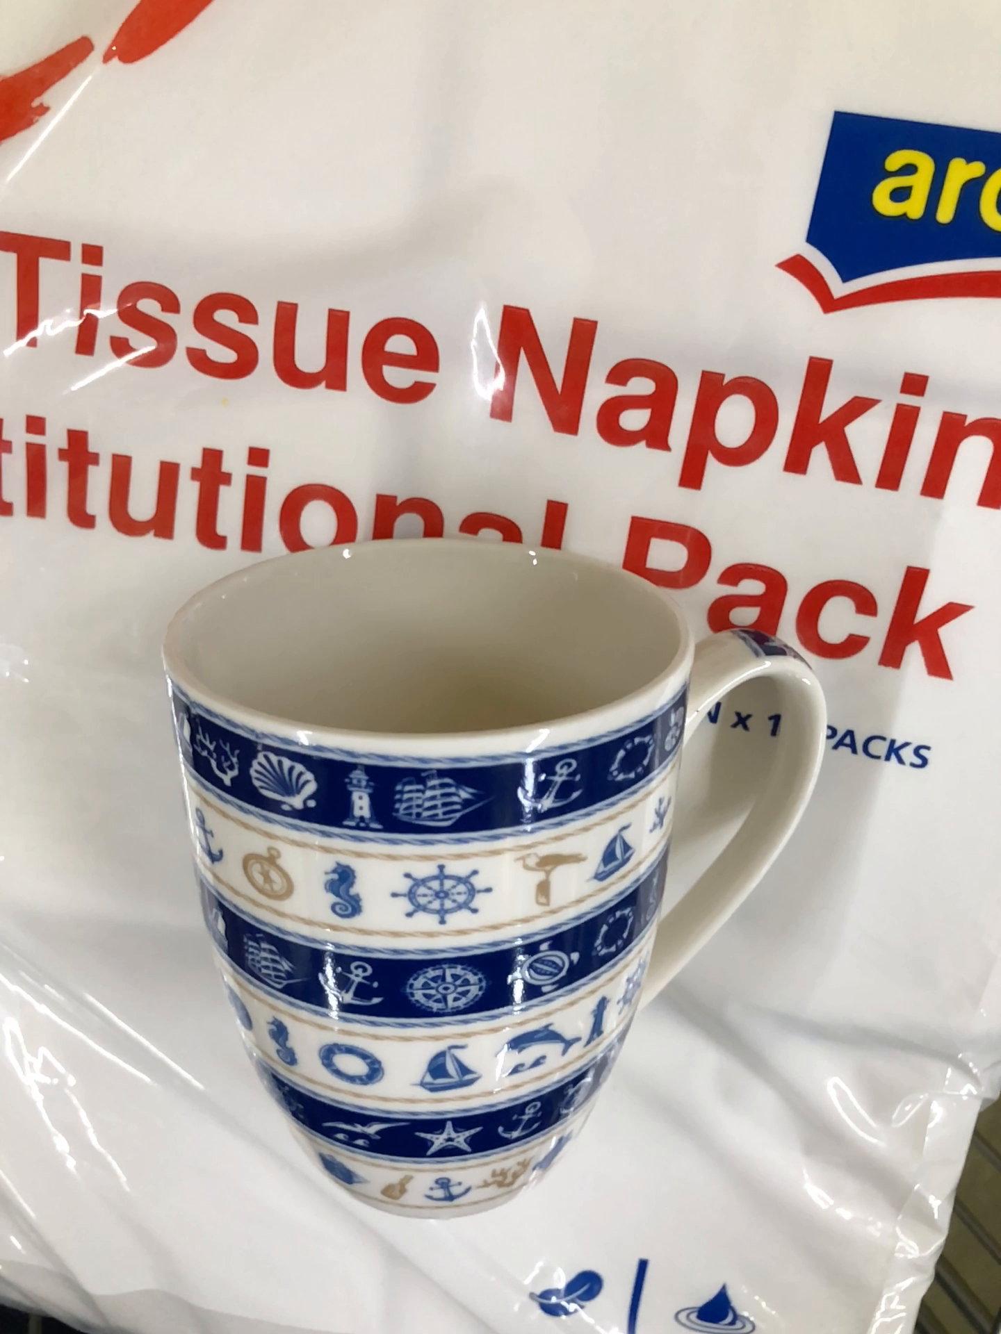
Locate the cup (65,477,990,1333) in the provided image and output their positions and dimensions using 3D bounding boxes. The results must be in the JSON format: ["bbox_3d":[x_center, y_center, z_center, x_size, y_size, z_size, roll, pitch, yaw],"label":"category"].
[{"bbox_3d":[0.004,0.038,0.199,0.120,0.080,0.110,-18,122,-31],"label":"cup"}]
